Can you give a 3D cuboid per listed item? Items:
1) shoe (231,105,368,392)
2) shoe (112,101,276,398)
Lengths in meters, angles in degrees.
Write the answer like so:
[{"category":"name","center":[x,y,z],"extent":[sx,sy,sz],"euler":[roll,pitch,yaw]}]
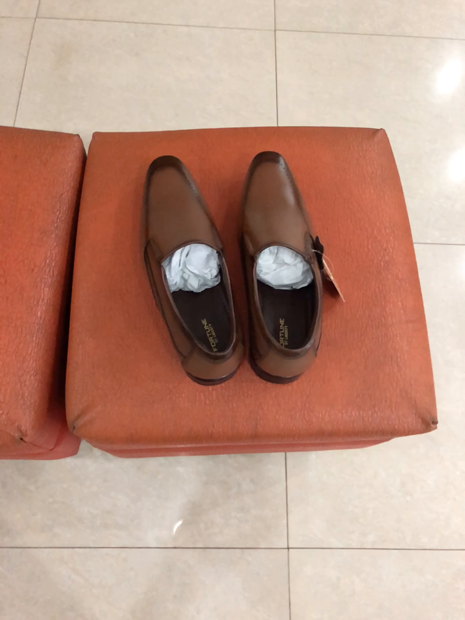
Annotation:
[{"category":"shoe","center":[0.061,-0.069,0.581],"extent":[0.099,0.128,0.293],"euler":[-3,69,-4]},{"category":"shoe","center":[-0.048,-0.068,0.564],"extent":[0.101,0.108,0.295],"euler":[-13,70,-7]}]
